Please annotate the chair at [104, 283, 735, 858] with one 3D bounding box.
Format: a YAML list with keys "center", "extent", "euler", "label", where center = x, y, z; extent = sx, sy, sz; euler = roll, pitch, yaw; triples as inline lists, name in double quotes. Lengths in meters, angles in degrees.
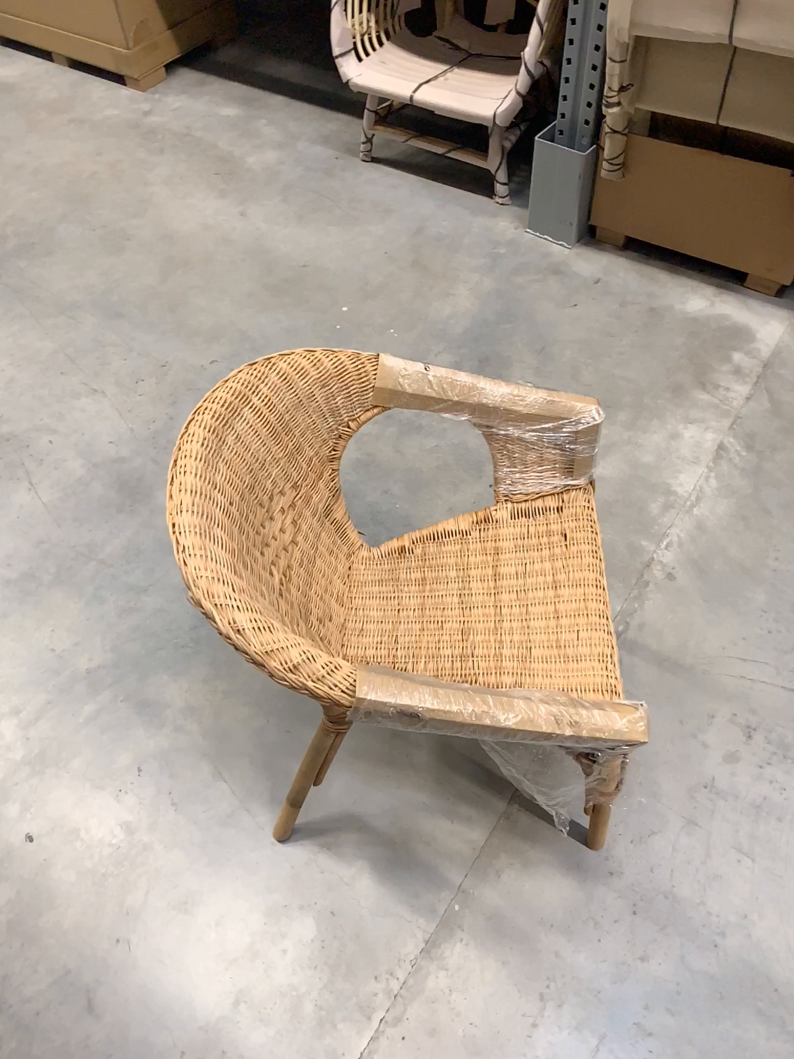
- center: [0.041, 0.111, 1.315]
  extent: [0.650, 0.758, 0.602]
  euler: [0, 53, 3]
  label: "chair"
